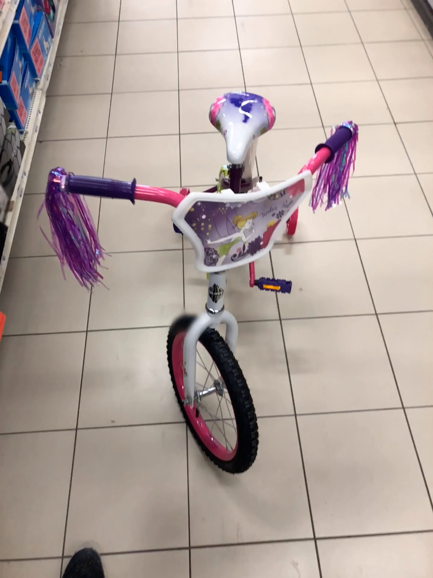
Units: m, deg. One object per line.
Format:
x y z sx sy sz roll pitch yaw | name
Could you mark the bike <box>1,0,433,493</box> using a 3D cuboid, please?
0.082 -0.179 1.148 0.595 0.810 1.072 2 57 2 | bike
